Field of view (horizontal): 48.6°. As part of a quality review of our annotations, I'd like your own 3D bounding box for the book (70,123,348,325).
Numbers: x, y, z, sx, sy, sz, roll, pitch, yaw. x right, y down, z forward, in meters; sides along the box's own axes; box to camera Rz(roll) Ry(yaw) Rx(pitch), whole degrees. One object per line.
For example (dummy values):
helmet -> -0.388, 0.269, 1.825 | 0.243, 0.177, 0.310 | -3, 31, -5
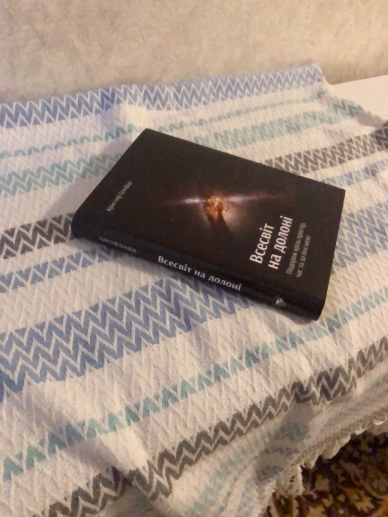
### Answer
book -> 0.024, -0.046, 0.414 | 0.224, 0.030, 0.162 | 19, 49, 8
